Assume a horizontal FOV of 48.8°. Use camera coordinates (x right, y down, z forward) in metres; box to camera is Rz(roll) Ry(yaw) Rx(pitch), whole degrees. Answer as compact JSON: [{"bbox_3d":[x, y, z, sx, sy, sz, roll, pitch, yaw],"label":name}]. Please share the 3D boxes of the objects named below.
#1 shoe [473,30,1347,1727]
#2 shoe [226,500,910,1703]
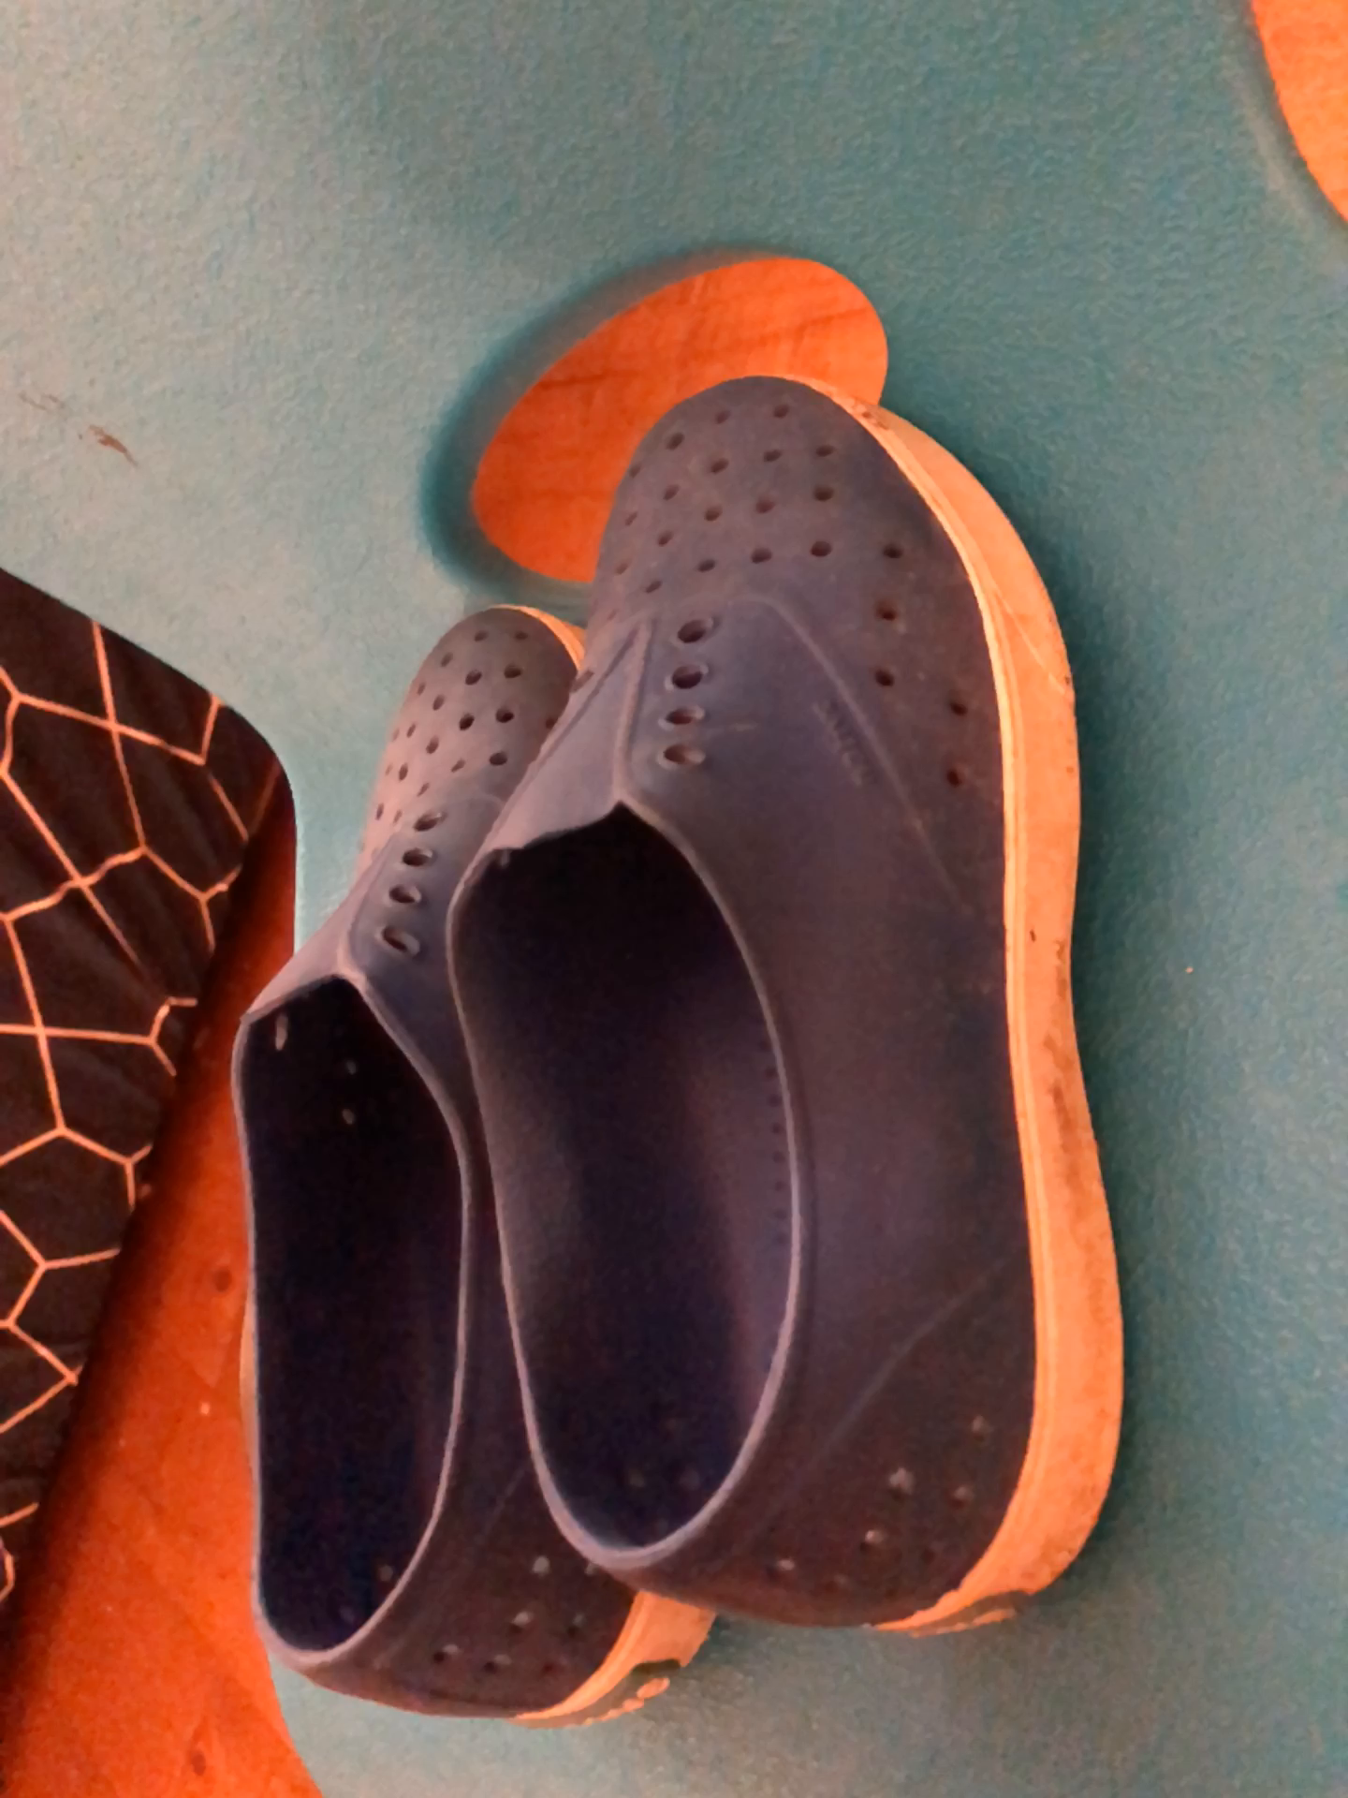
[{"bbox_3d":[0.029,-0.006,0.243,0.100,0.070,0.241,-26,58,37],"label":"shoe"},{"bbox_3d":[-0.027,0.041,0.306,0.090,0.079,0.211,-26,58,37],"label":"shoe"}]
